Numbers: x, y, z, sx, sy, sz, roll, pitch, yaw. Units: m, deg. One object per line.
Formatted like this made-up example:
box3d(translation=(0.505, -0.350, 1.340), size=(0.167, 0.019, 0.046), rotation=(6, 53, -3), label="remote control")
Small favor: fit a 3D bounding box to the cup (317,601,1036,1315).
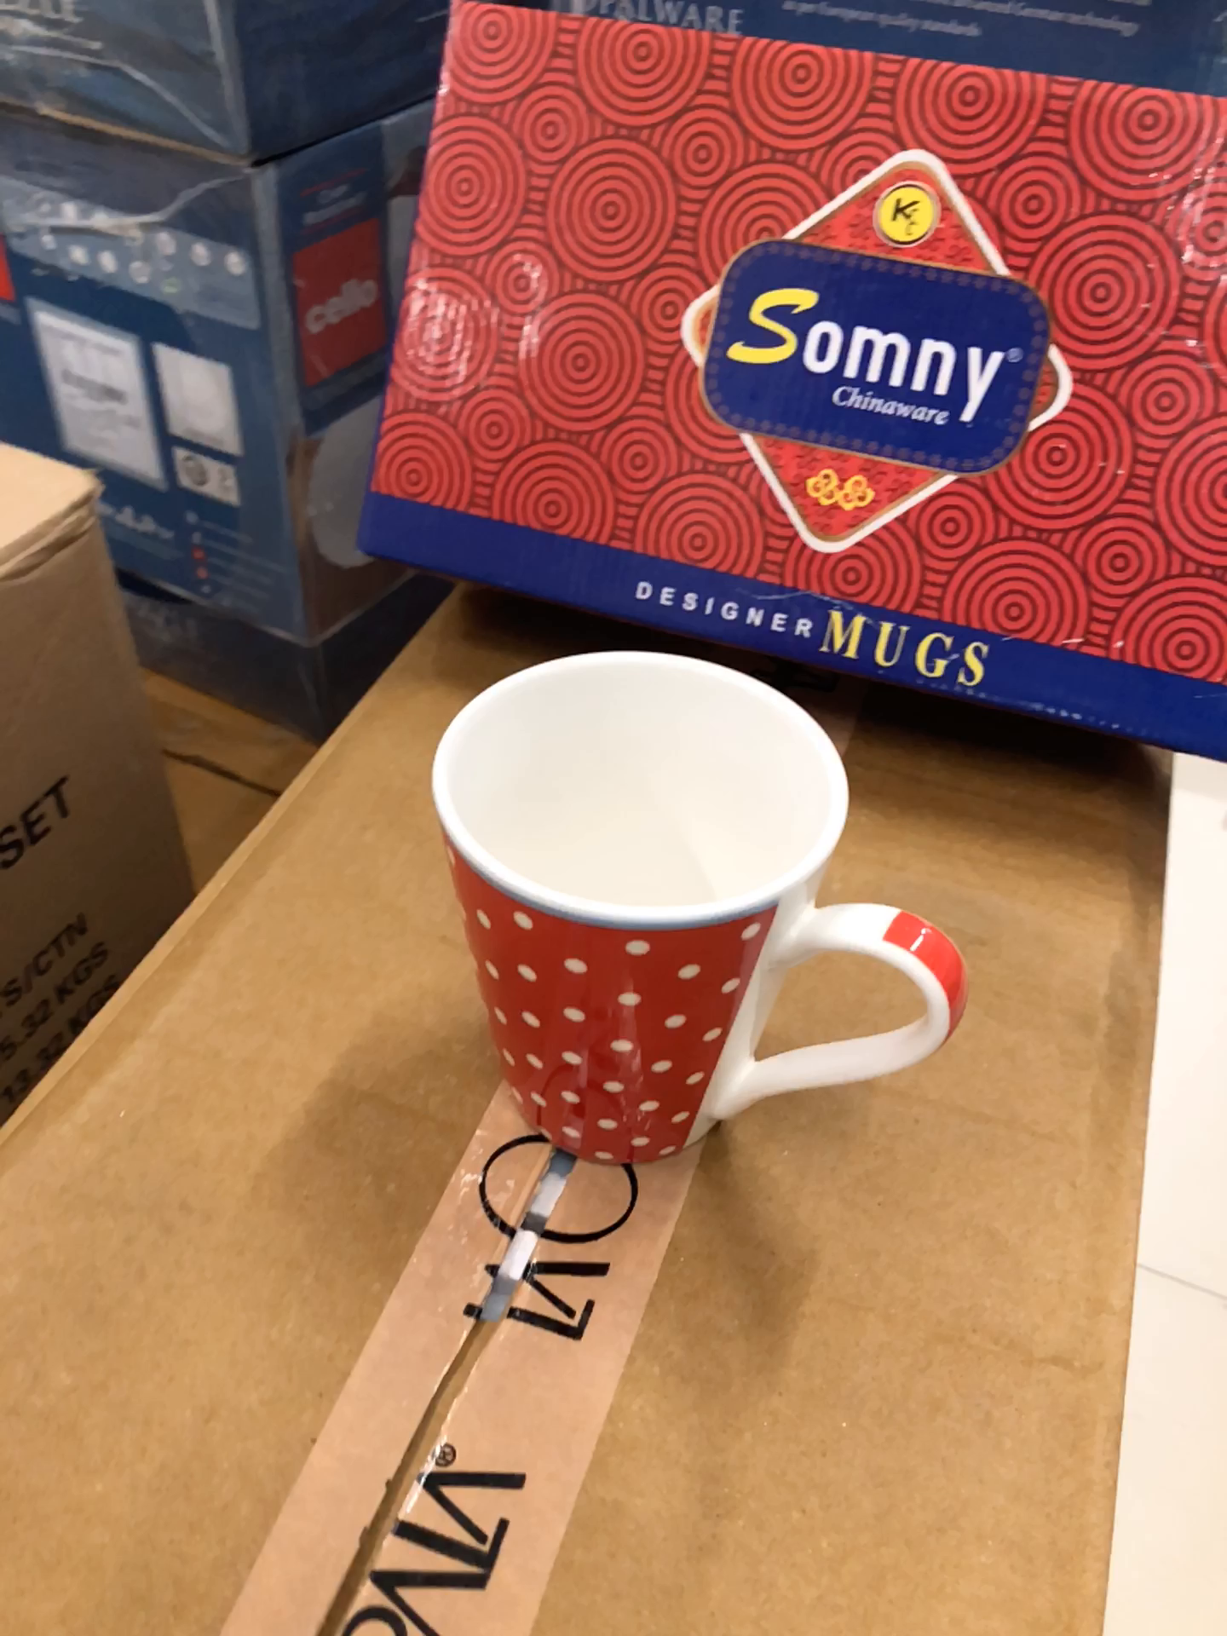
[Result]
box3d(translation=(0.013, 0.026, 0.300), size=(0.120, 0.089, 0.081), rotation=(21, 45, 20), label="cup")
